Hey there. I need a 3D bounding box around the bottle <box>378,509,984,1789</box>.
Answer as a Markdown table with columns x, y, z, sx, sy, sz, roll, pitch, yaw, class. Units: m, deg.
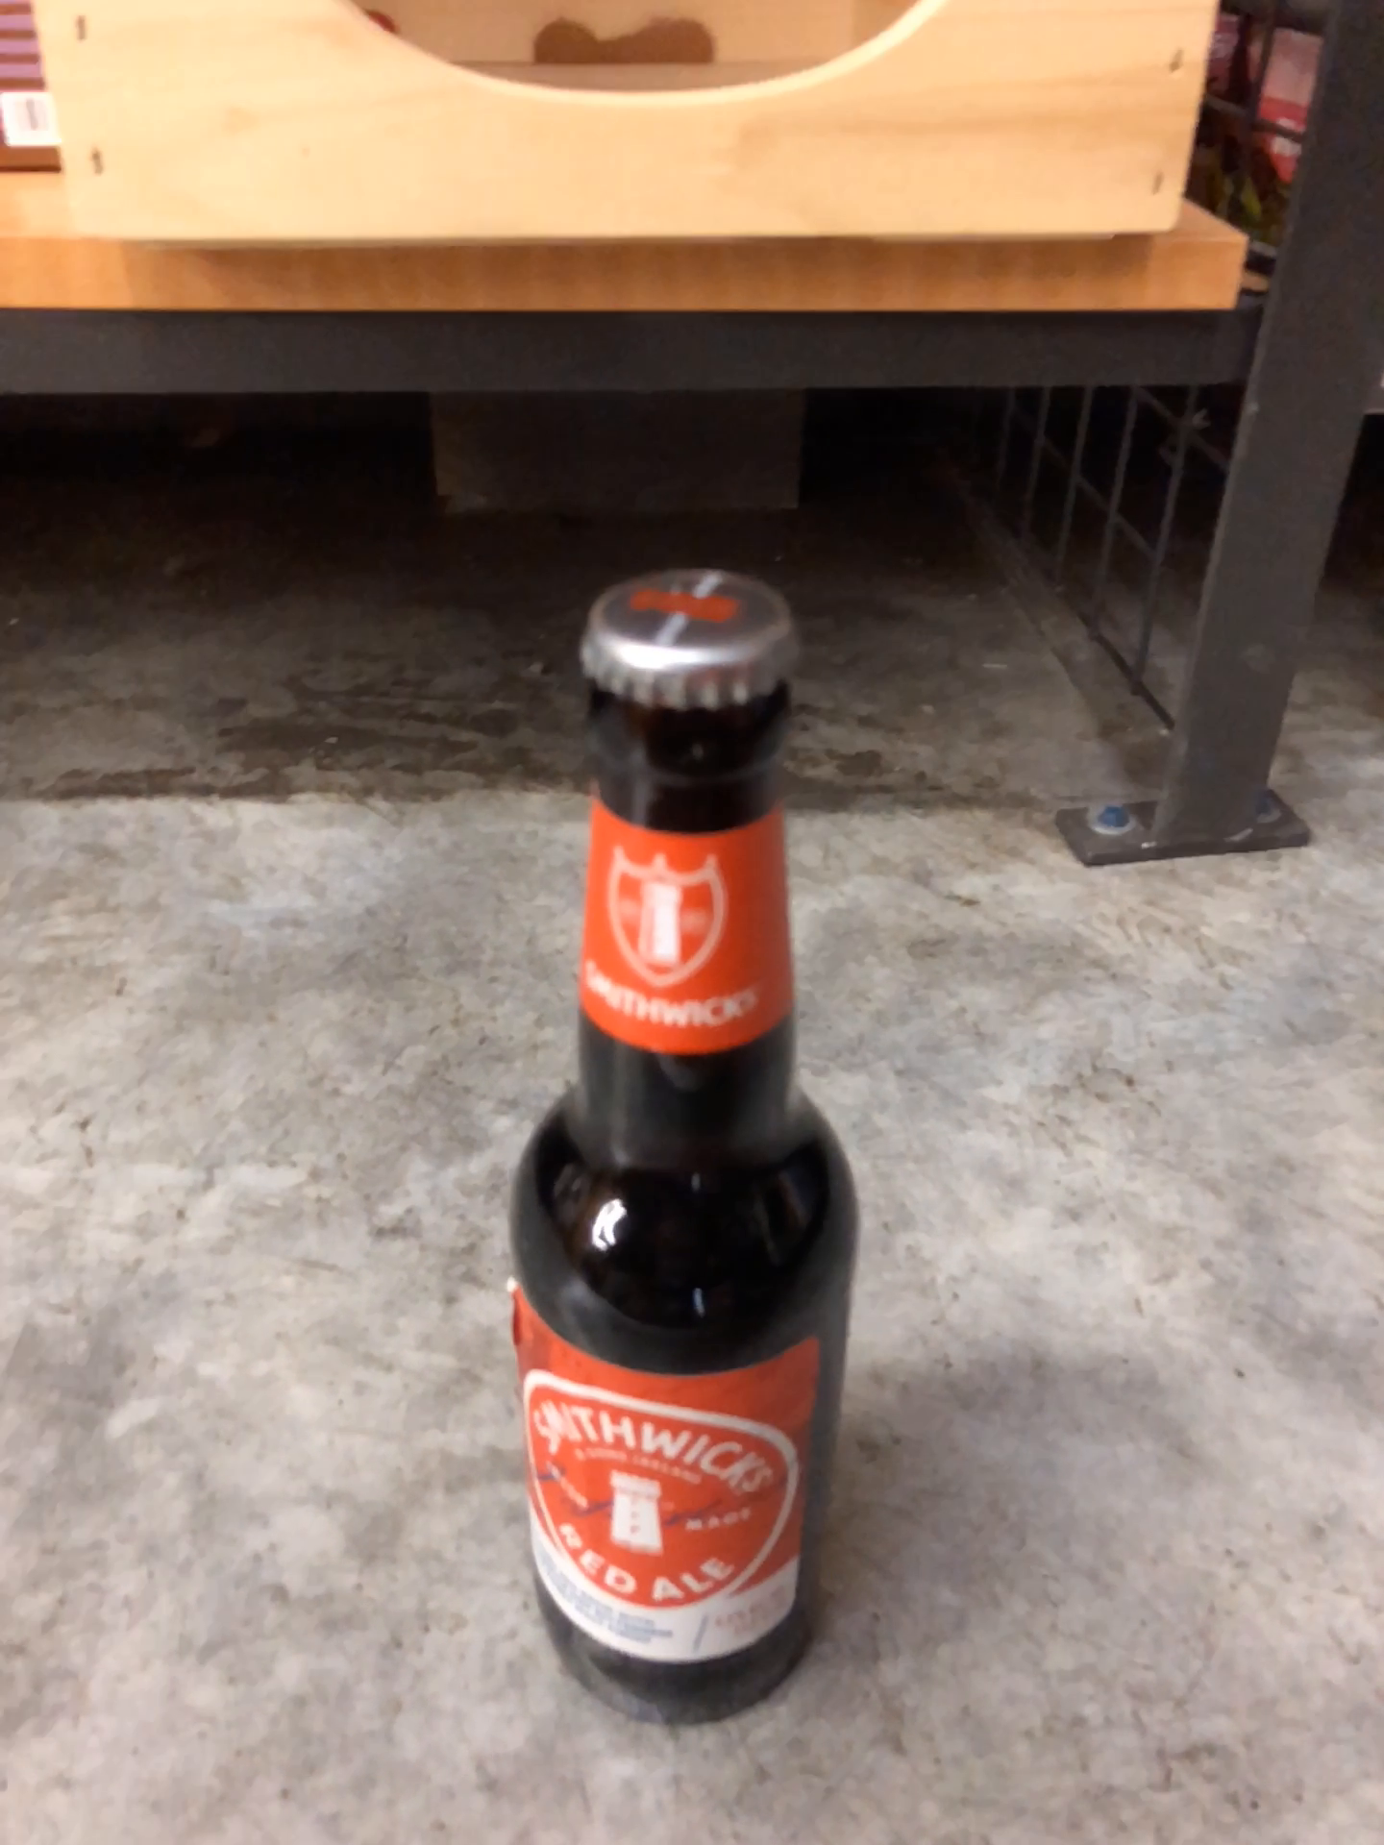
| x | y | z | sx | sy | sz | roll | pitch | yaw | class |
| --- | --- | --- | --- | --- | --- | --- | --- | --- | --- |
| 0.000 | 0.051 | 0.255 | 0.059 | 0.220 | 0.060 | 1 | 35 | -1 | bottle |
